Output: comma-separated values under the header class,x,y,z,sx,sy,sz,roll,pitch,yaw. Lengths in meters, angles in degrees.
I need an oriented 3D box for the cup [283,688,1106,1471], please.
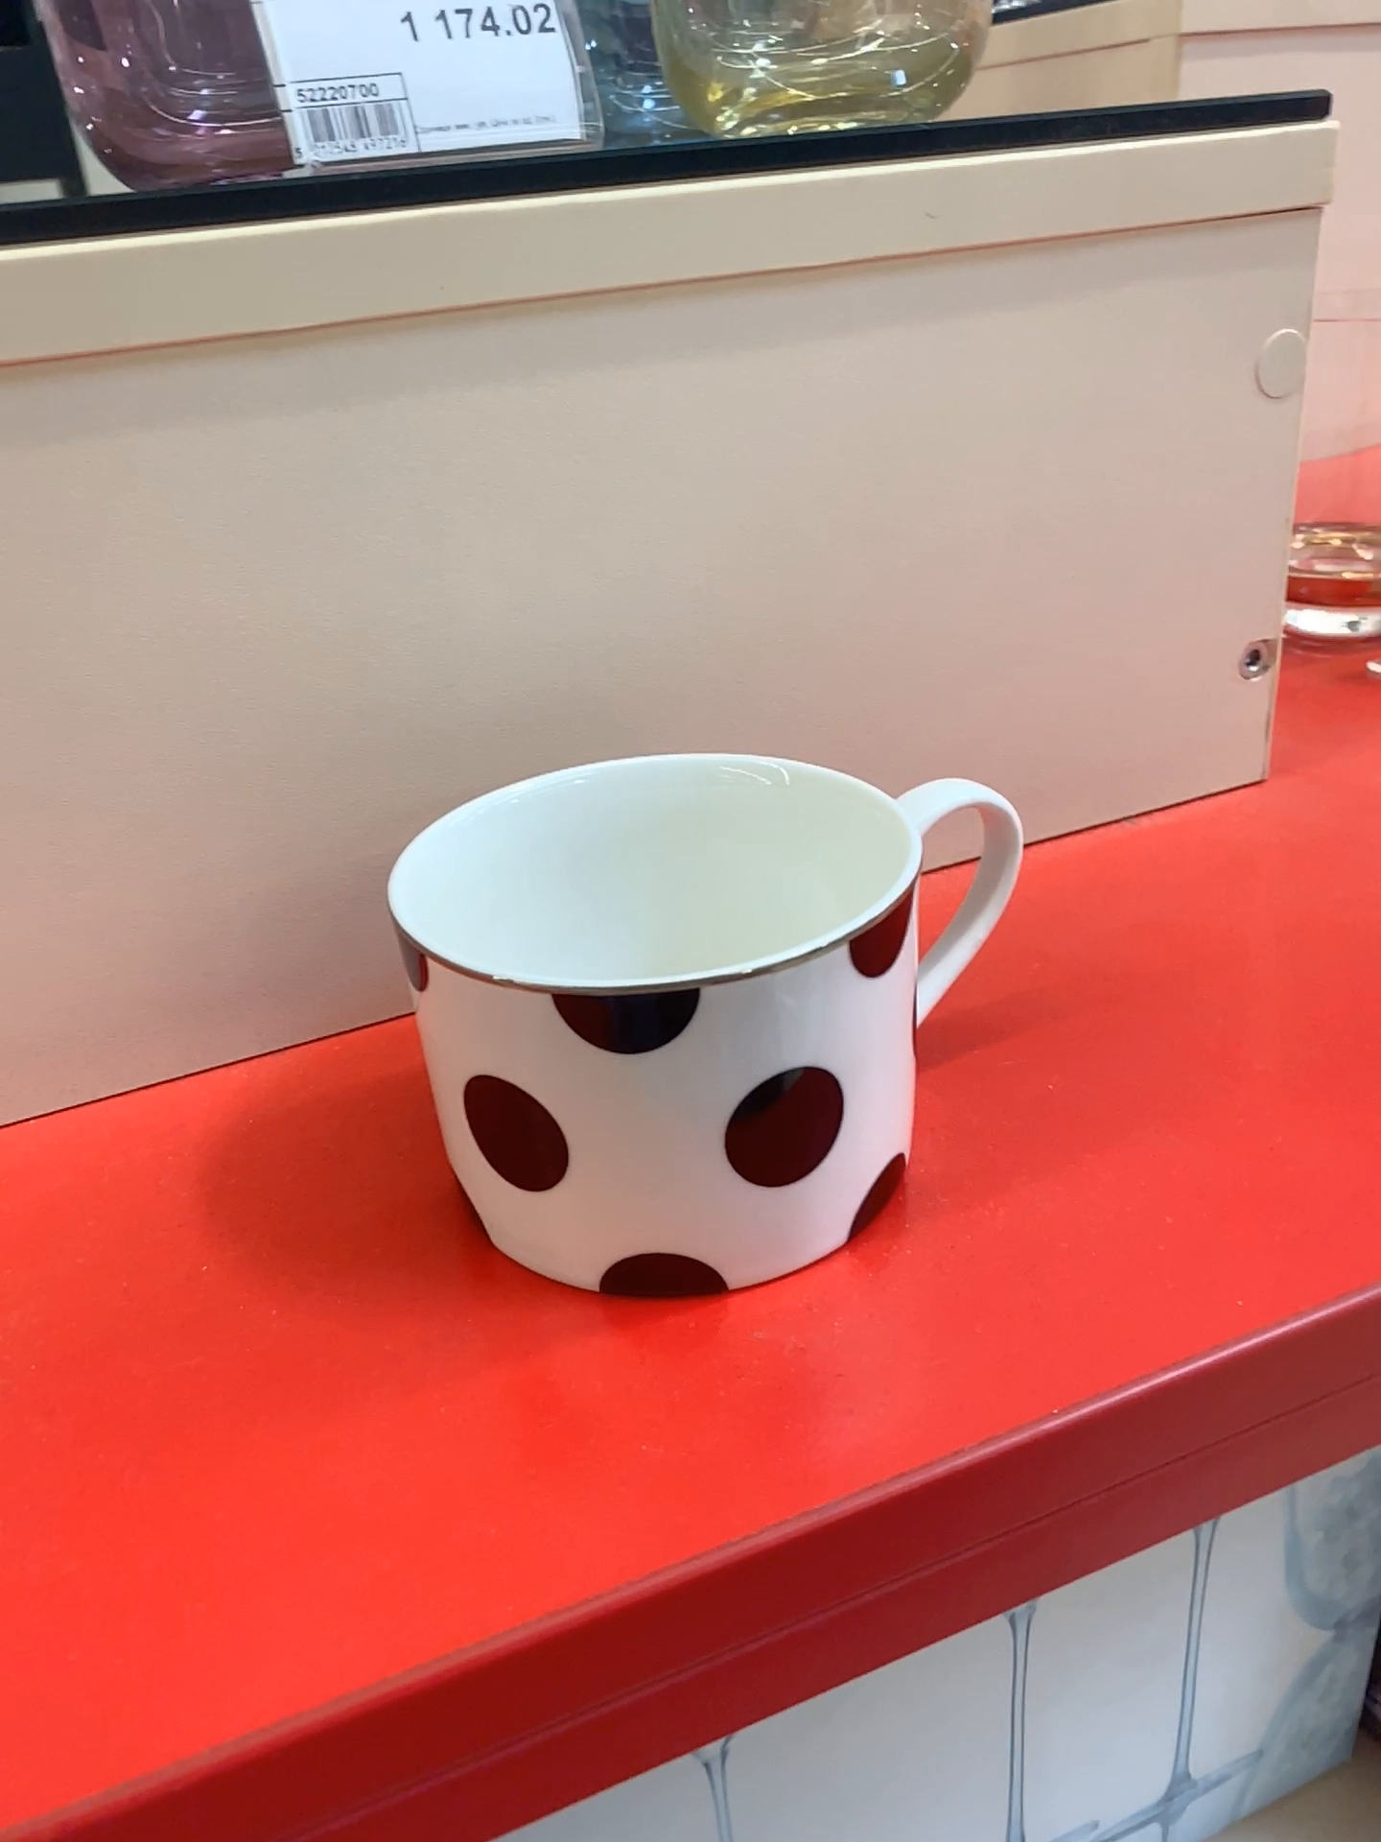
class,x,y,z,sx,sy,sz,roll,pitch,yaw
cup,0.000,0.016,0.234,0.100,0.070,0.080,-18,29,-23
